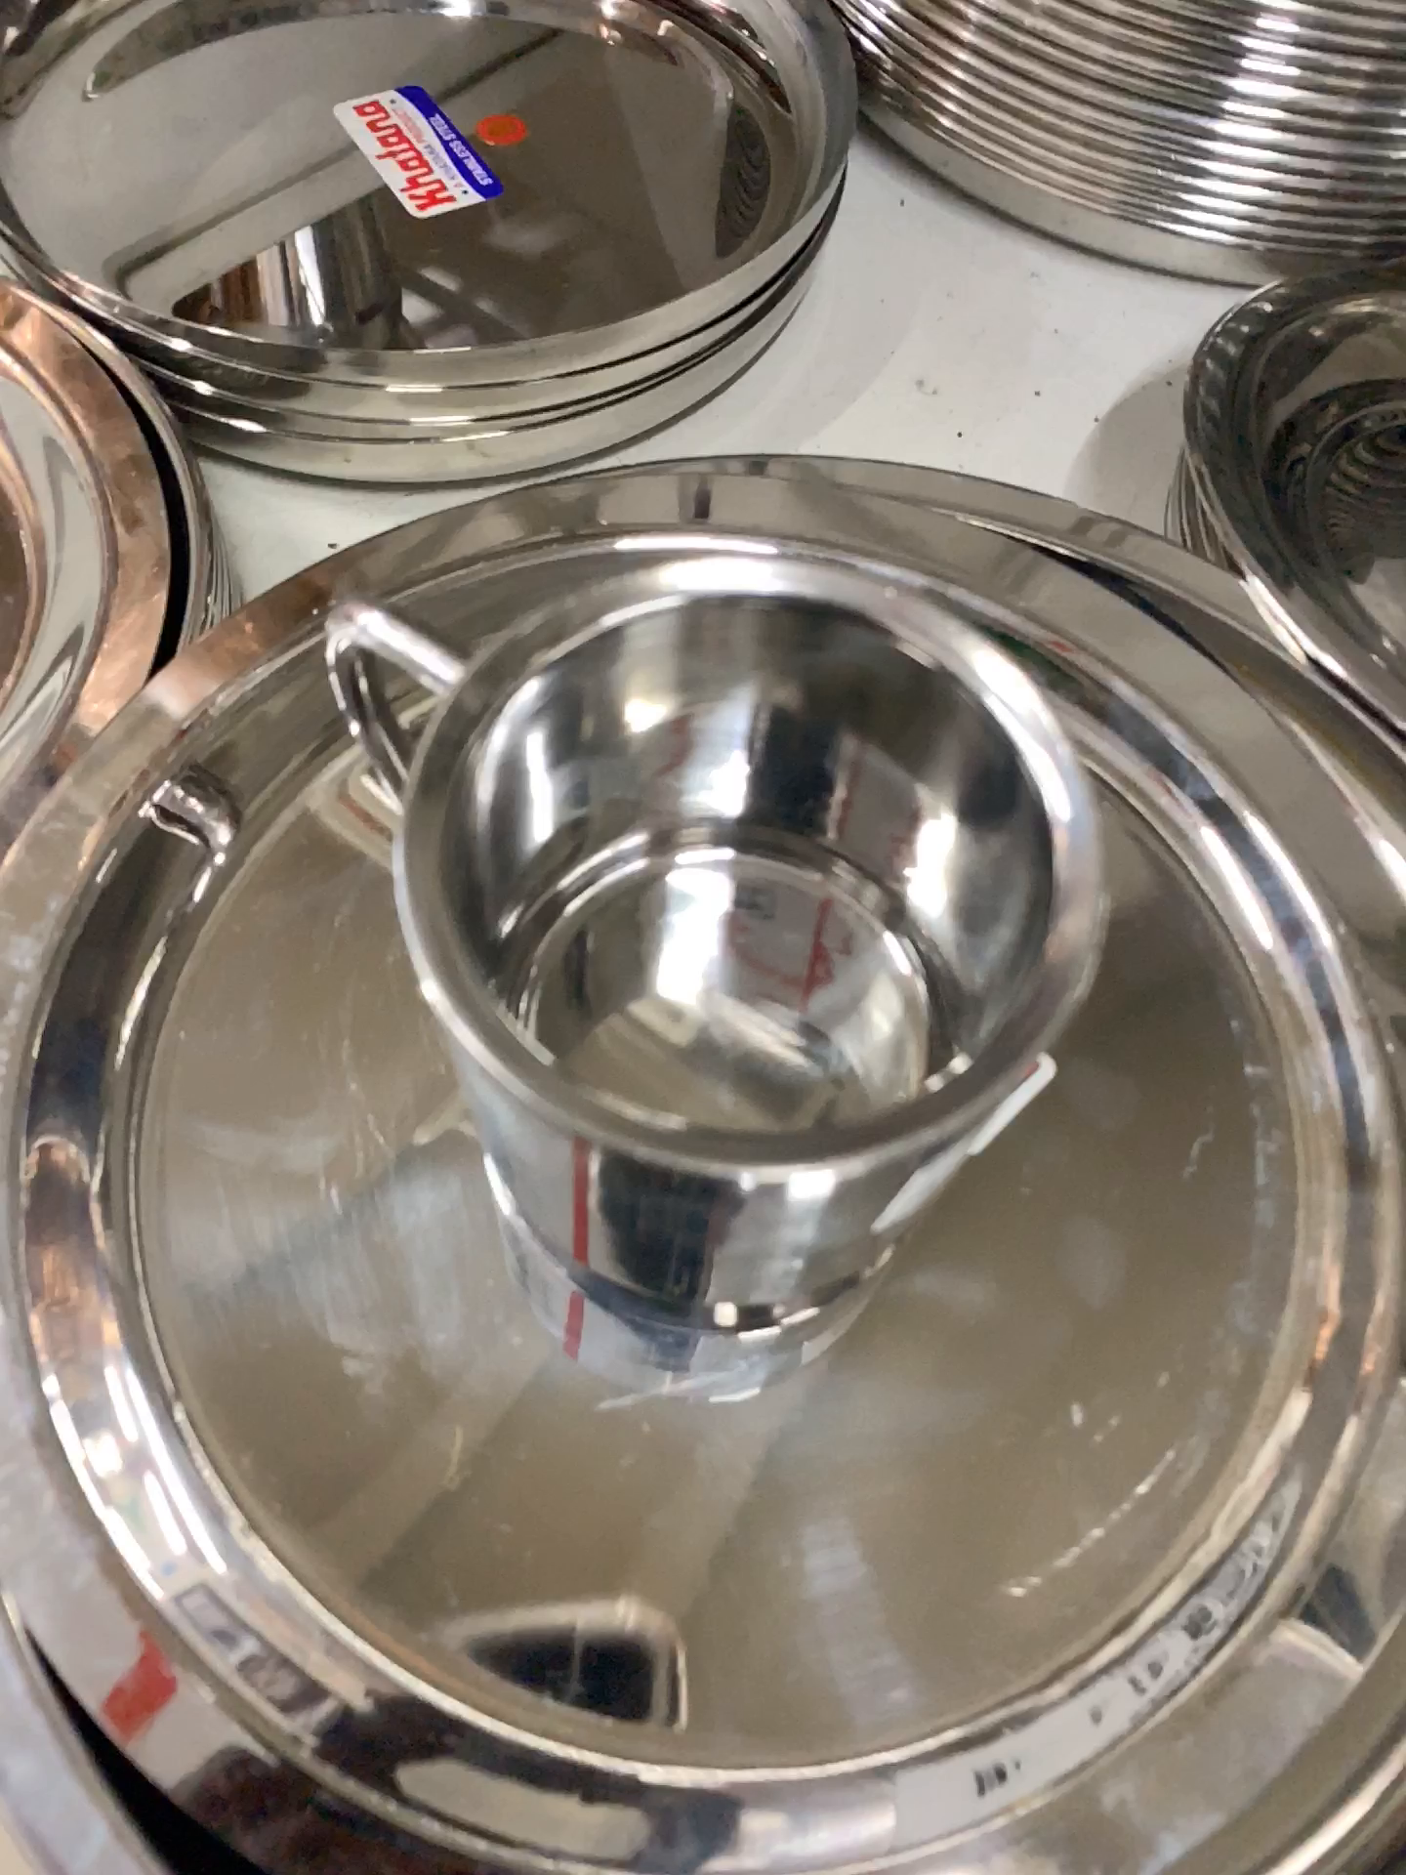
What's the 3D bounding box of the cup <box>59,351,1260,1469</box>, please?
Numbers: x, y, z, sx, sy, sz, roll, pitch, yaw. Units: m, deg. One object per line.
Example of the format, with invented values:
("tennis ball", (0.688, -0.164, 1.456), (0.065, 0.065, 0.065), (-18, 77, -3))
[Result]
("cup", (-0.004, -0.001, 0.168), (0.090, 0.070, 0.070), (34, 67, 14))
